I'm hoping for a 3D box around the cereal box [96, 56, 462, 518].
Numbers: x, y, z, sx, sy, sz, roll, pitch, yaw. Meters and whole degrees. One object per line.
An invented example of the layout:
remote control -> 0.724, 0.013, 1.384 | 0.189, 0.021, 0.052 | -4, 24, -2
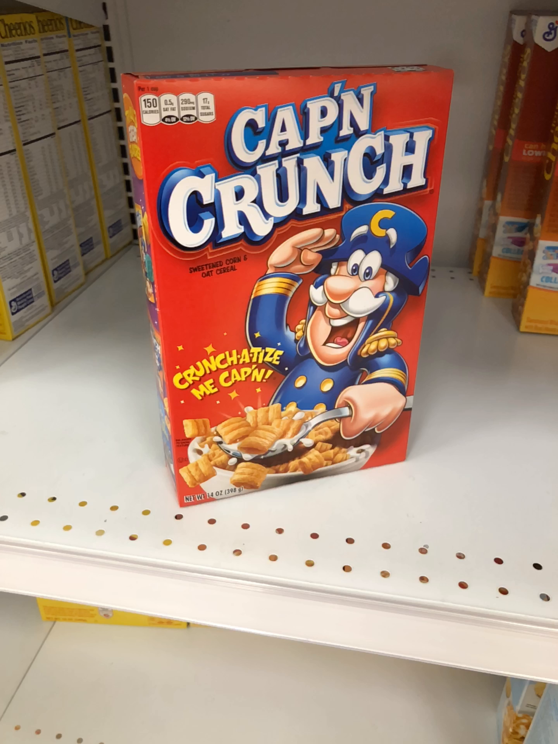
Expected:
cereal box -> -0.001, -0.053, 0.453 | 0.210, 0.309, 0.070 | -9, 32, -15
